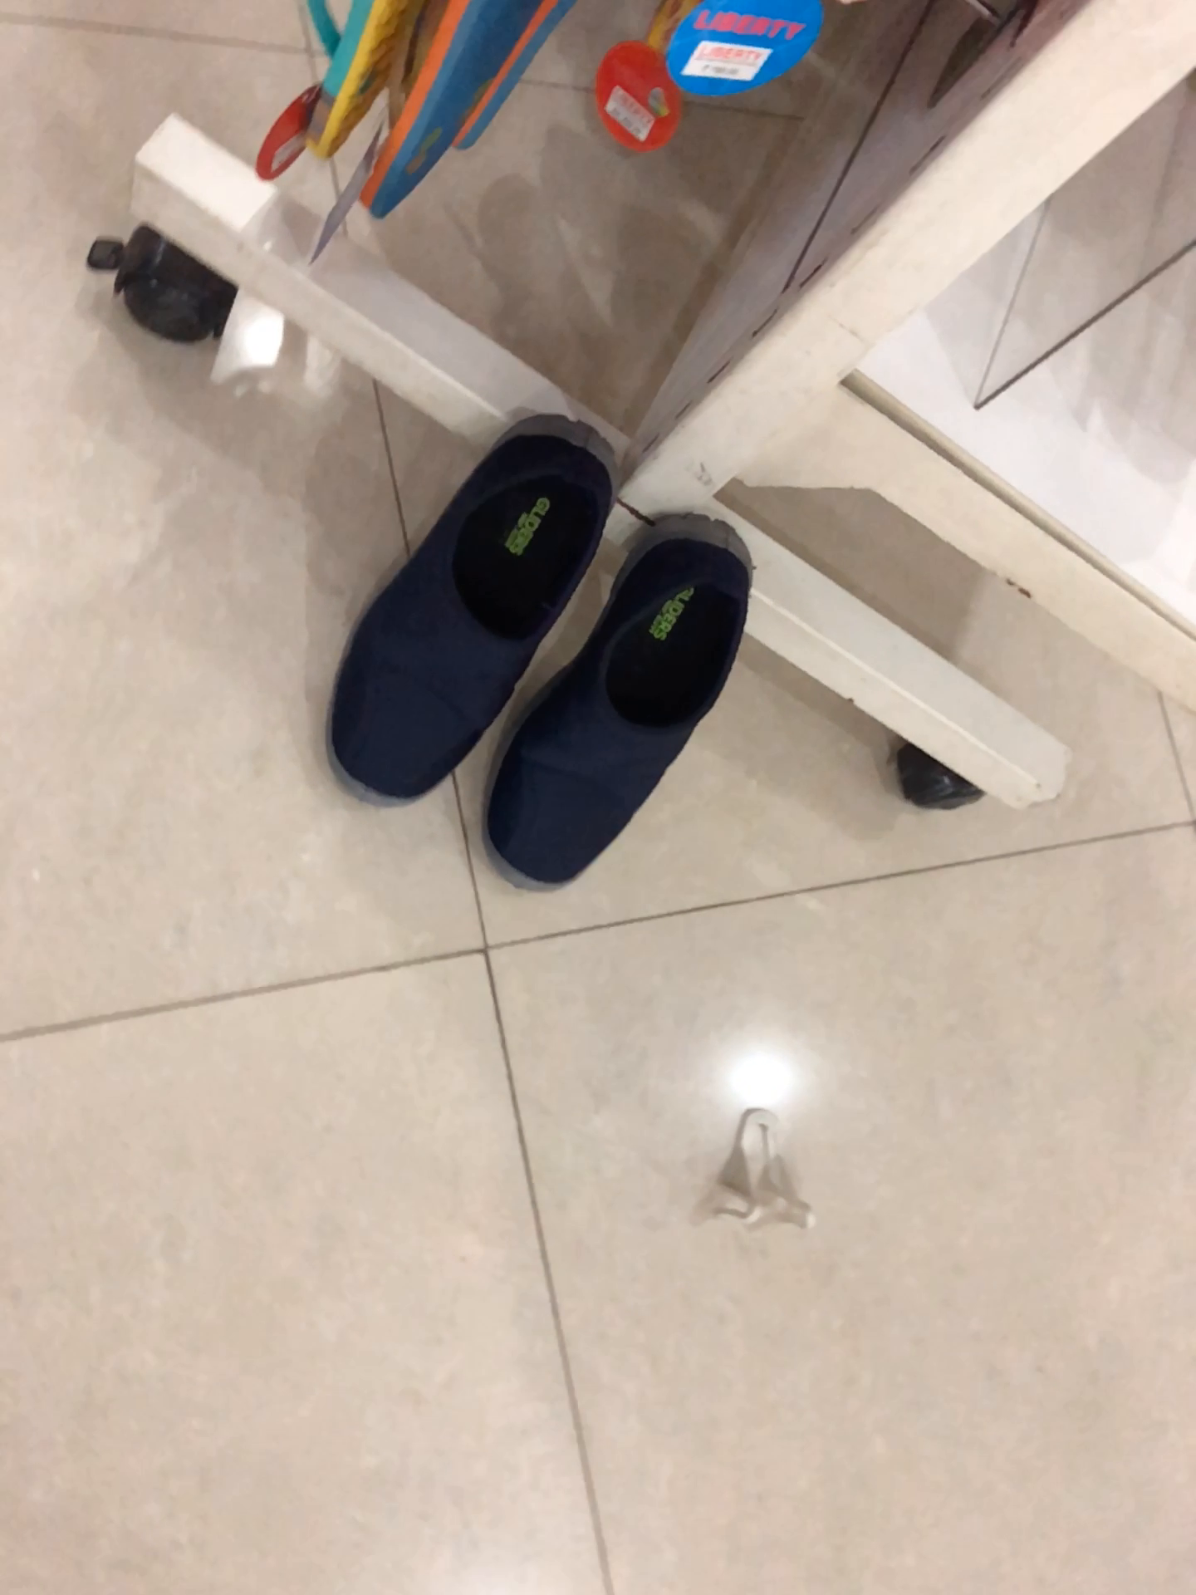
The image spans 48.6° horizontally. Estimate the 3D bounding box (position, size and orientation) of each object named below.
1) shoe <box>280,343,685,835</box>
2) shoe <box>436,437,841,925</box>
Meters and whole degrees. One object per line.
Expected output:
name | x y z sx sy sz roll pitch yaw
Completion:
shoe | -0.073 -0.128 0.833 0.107 0.064 0.288 34 83 -13
shoe | 0.026 -0.073 0.853 0.110 0.083 0.288 34 80 -13
